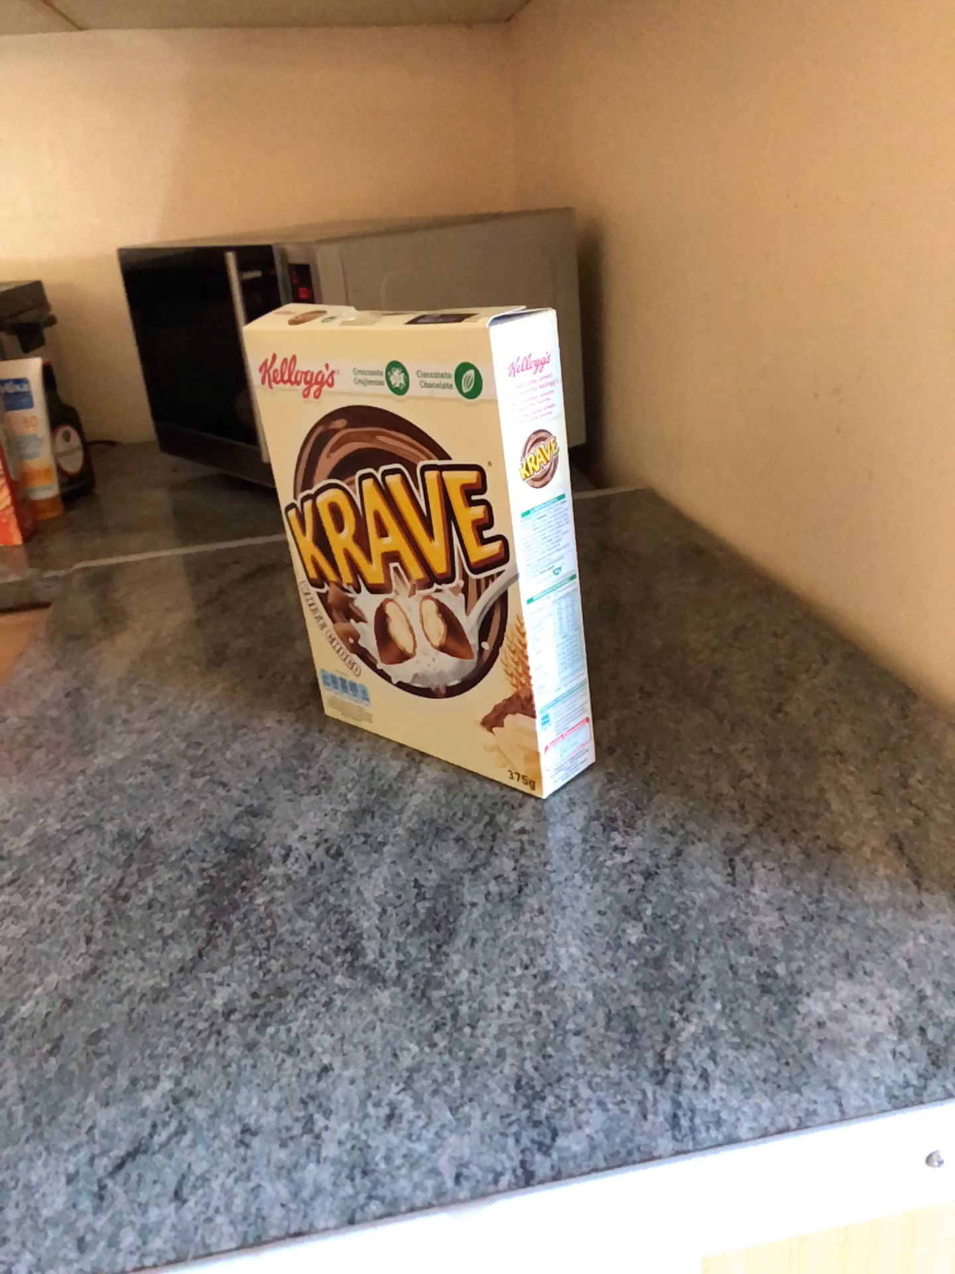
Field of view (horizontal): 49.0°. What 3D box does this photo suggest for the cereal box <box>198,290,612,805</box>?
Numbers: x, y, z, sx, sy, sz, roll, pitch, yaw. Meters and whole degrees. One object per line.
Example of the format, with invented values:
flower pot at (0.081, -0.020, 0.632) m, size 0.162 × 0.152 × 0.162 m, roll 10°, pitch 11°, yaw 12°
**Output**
cereal box at (-0.039, -0.059, 0.590) m, size 0.210 × 0.249 × 0.070 m, roll 16°, pitch 34°, yaw 39°
